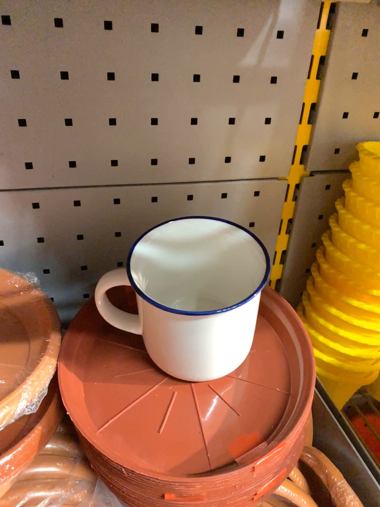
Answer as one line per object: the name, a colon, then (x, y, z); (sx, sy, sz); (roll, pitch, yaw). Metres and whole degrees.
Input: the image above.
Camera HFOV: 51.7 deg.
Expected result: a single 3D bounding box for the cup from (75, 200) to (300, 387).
cup: (-0.004, 0.028, 0.273); (0.120, 0.090, 0.090); (1, 43, -3)
